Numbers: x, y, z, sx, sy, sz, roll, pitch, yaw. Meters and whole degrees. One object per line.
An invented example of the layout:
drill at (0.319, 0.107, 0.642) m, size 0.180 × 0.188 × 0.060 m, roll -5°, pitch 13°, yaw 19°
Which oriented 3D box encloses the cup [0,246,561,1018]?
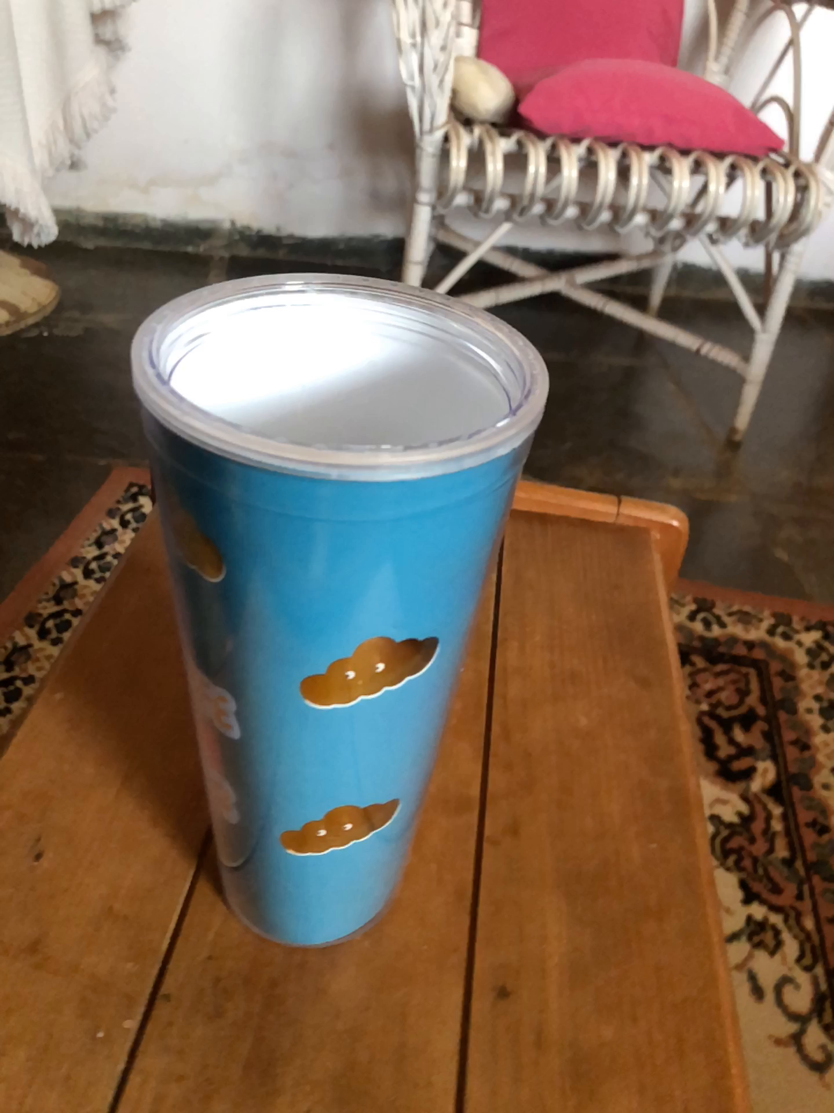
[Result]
cup at (-0.033, 0.024, 0.267) m, size 0.100 × 0.179 × 0.101 m, roll 5°, pitch 37°, yaw -4°
